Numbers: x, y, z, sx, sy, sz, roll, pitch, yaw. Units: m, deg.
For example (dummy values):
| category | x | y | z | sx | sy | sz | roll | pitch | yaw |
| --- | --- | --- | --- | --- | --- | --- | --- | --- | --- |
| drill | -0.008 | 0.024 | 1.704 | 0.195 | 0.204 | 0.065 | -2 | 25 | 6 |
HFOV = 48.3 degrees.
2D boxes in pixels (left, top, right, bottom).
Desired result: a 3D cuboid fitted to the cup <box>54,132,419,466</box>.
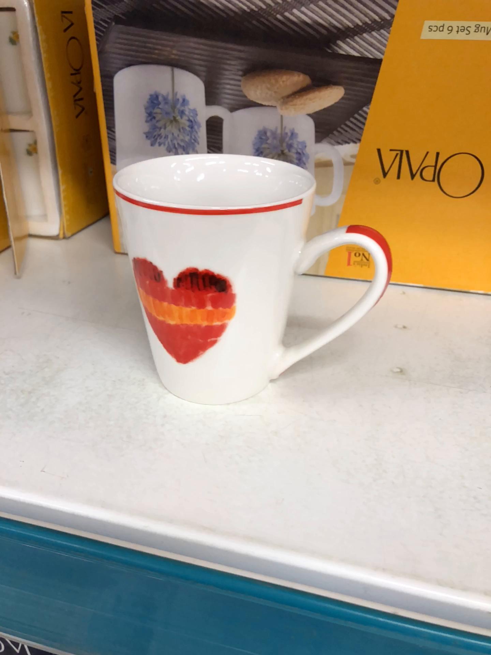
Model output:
| category | x | y | z | sx | sy | sz | roll | pitch | yaw |
| --- | --- | --- | --- | --- | --- | --- | --- | --- | --- |
| cup | 0.001 | -0.020 | 0.235 | 0.120 | 0.099 | 0.081 | 11 | 31 | 17 |
